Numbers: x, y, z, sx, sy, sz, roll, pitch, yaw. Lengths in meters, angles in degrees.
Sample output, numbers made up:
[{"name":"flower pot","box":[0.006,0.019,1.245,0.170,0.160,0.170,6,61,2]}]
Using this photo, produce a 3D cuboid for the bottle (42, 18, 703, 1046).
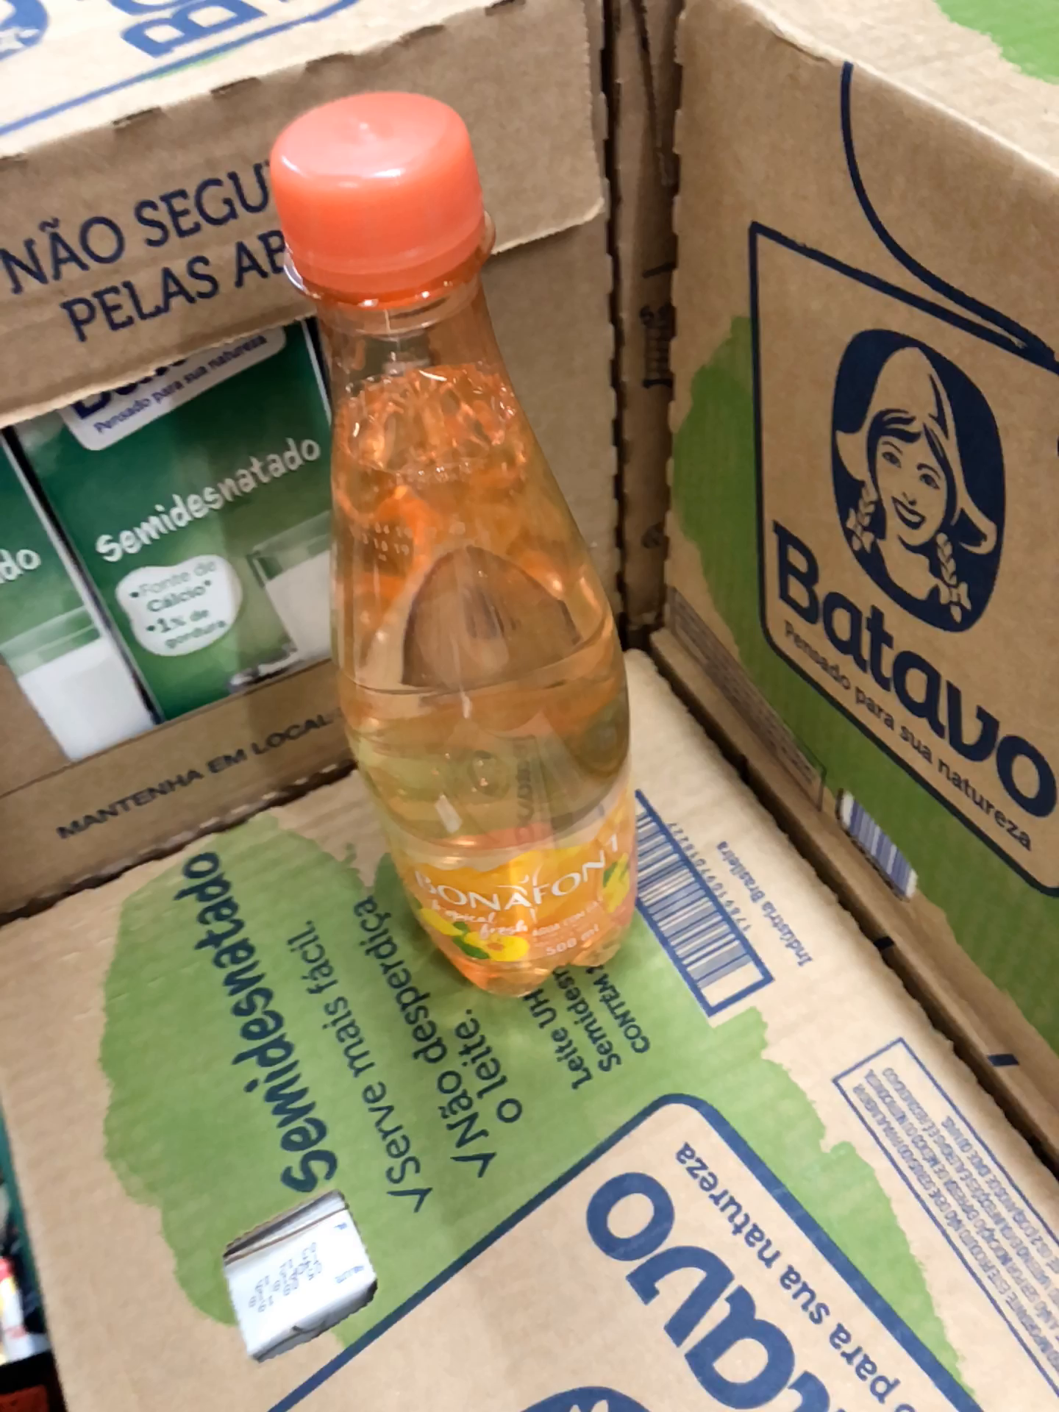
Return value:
[{"name":"bottle","box":[-0.009,-0.010,0.255,0.080,0.229,0.070,4,52,9]}]
